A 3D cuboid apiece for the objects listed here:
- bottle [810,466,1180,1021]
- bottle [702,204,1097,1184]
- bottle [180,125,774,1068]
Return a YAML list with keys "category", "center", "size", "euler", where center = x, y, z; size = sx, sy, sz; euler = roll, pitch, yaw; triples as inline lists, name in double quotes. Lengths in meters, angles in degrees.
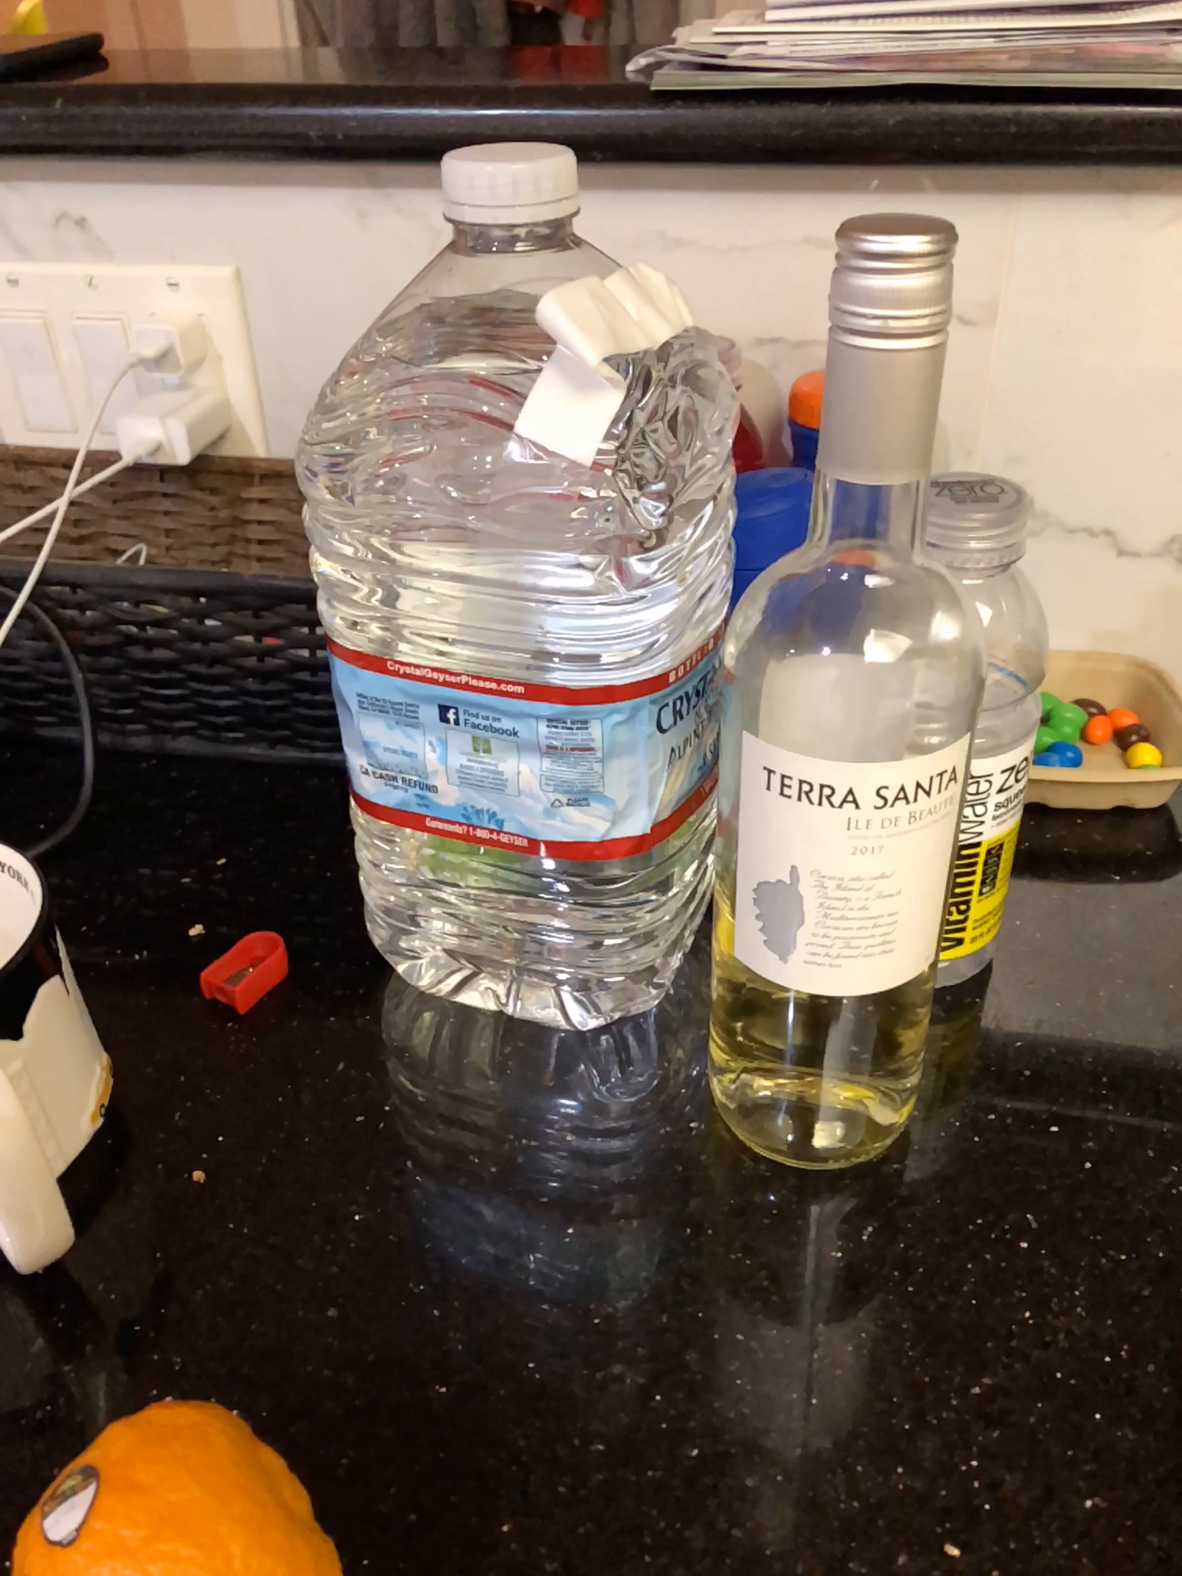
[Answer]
- category: "bottle"
  center: [0.130, -0.015, 0.441]
  size: [0.070, 0.159, 0.070]
  euler: [-1, 34, 1]
- category: "bottle"
  center: [0.075, -0.012, 0.365]
  size: [0.070, 0.268, 0.070]
  euler: [-1, 34, 1]
- category: "bottle"
  center: [-0.022, -0.065, 0.453]
  size: [0.130, 0.278, 0.141]
  euler: [-1, 34, 1]
